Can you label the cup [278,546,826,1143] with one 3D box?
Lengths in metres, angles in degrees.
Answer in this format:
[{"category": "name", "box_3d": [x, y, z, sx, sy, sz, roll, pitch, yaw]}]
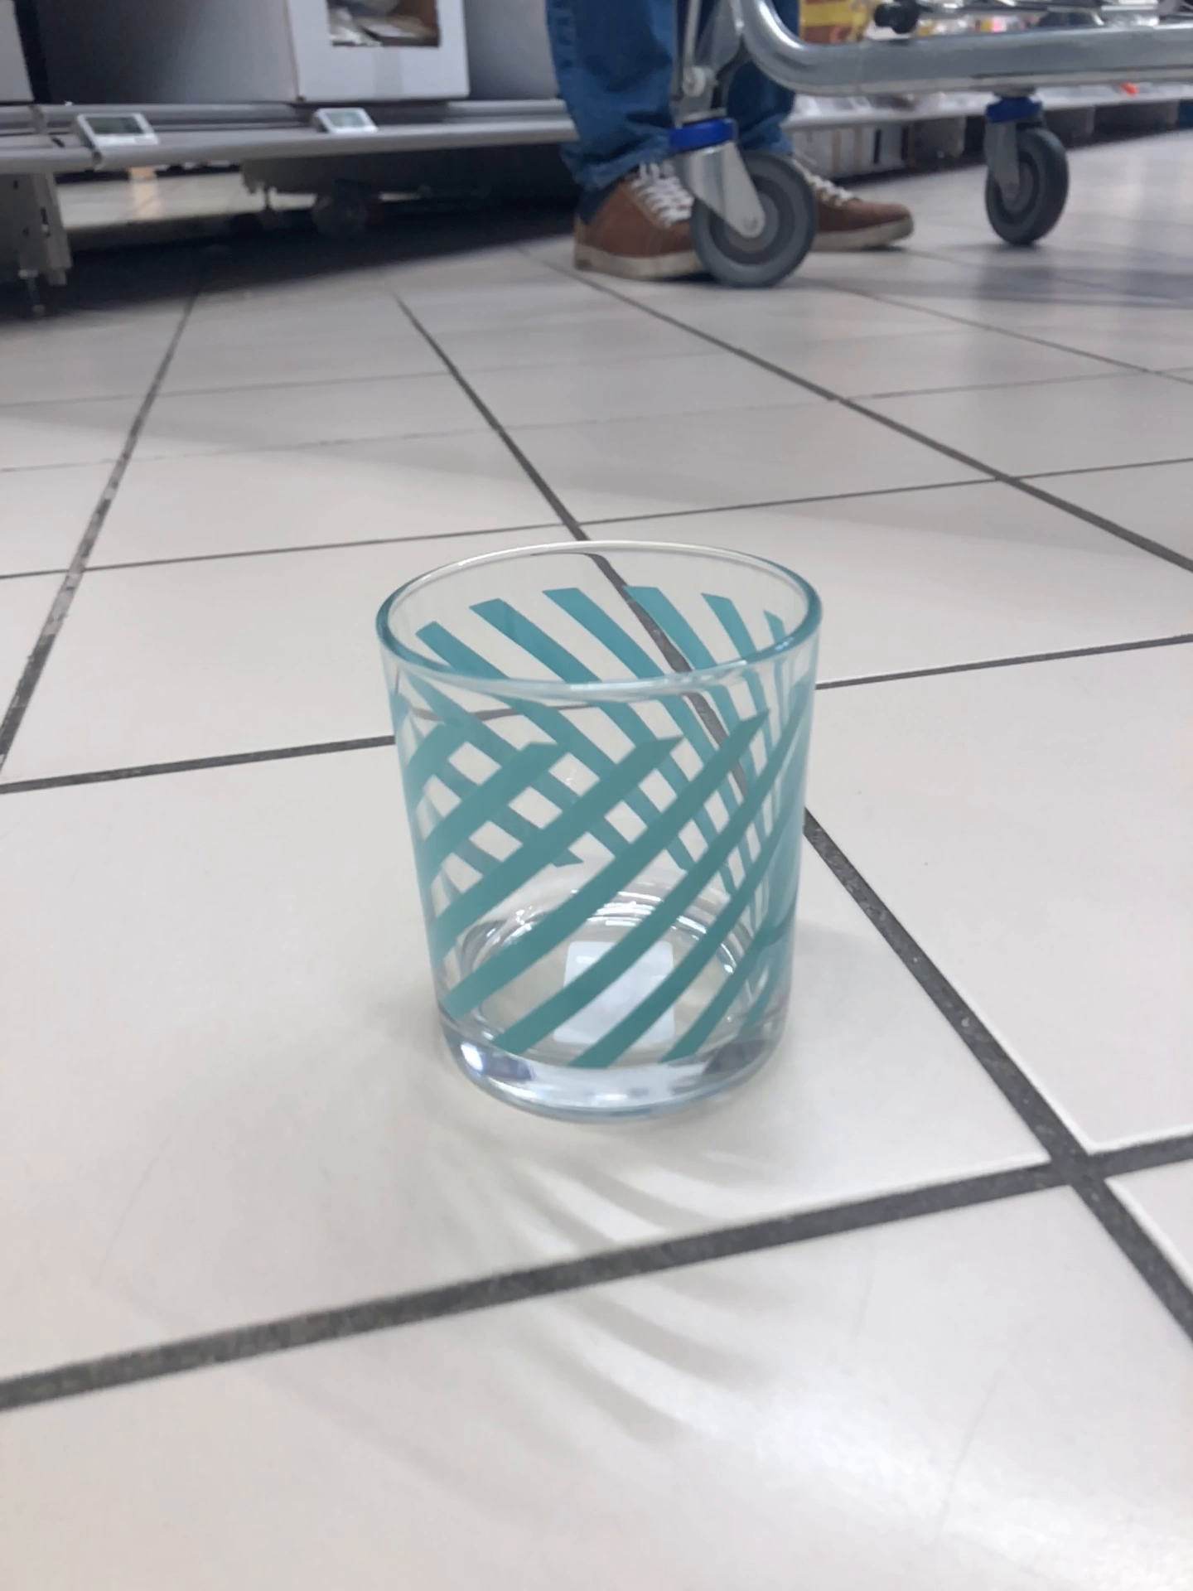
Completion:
[{"category": "cup", "box_3d": [-0.002, 0.005, 0.241, 0.079, 0.080, 0.076, -2, 27, 1]}]
